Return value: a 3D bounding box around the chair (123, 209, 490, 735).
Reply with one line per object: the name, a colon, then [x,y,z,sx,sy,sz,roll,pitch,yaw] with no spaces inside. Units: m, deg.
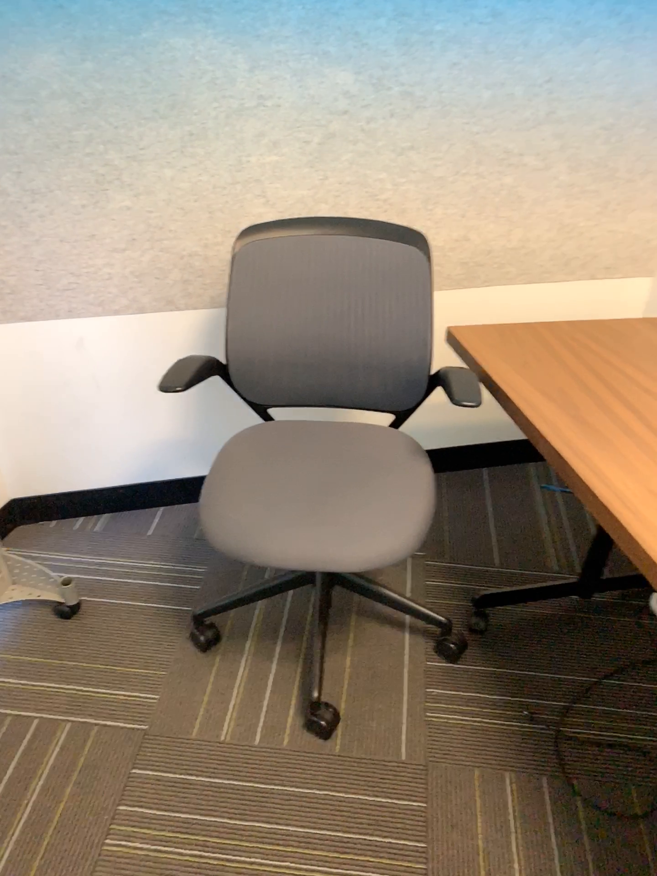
chair: [-0.012,0.064,1.437,0.540,0.935,0.533,5,31,7]
